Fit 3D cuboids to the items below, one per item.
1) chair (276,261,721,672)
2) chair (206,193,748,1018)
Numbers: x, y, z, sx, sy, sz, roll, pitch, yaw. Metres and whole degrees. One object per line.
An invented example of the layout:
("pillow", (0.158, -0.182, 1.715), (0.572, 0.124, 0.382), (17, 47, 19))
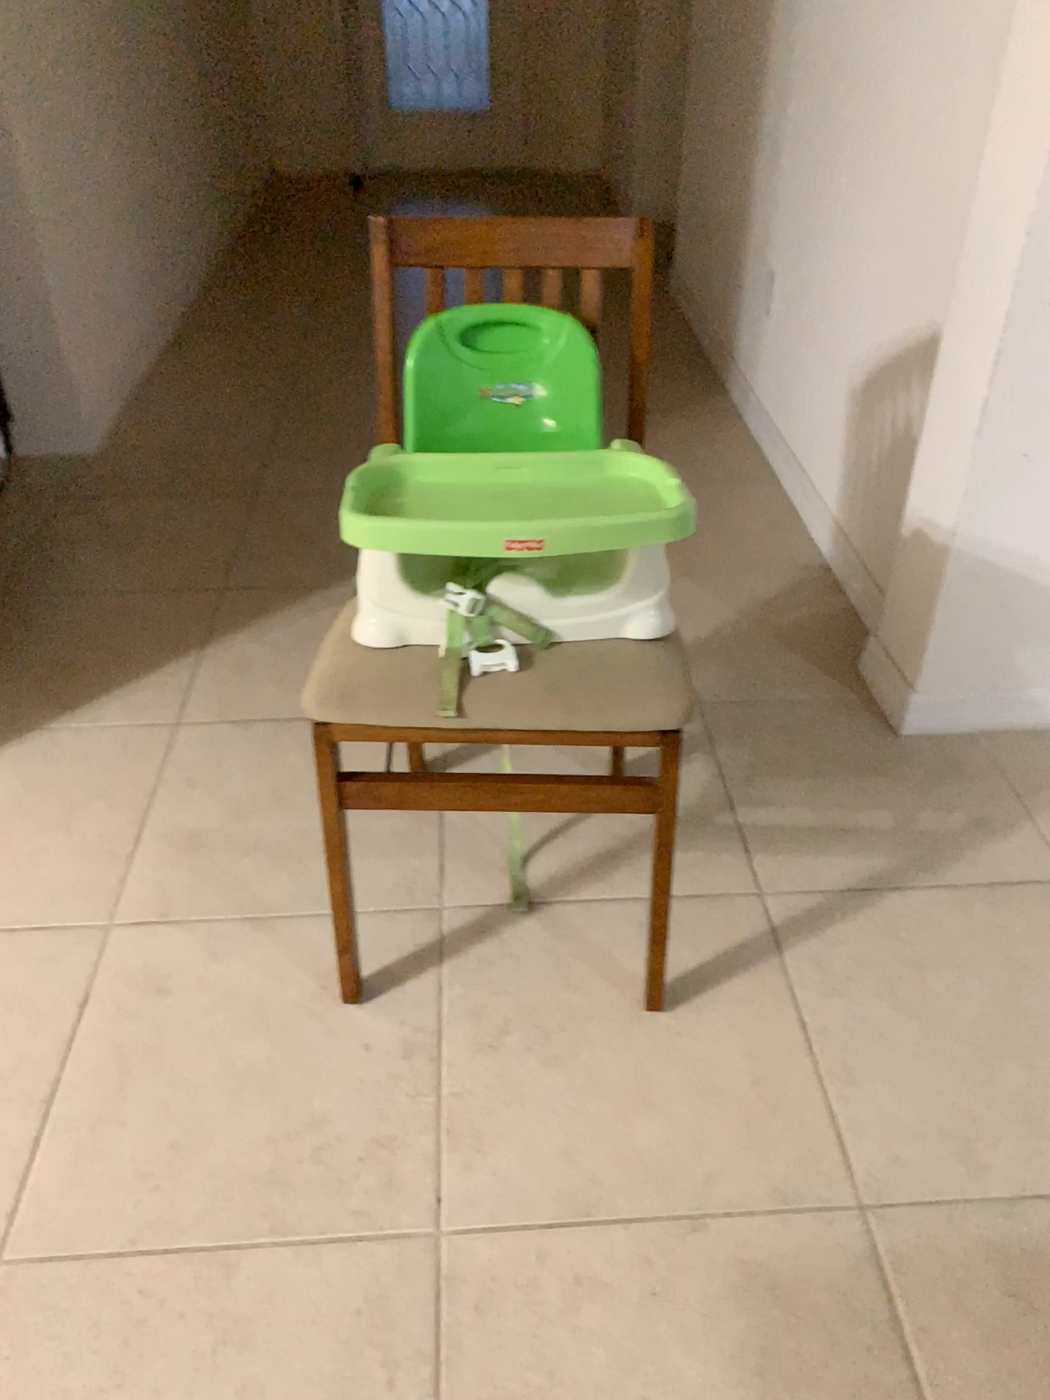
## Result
("chair", (-0.027, -0.280, 1.224), (0.404, 0.327, 0.389), (-1, 35, -1))
("chair", (-0.031, -0.114, 1.377), (0.454, 0.880, 0.561), (1, 35, 2))
